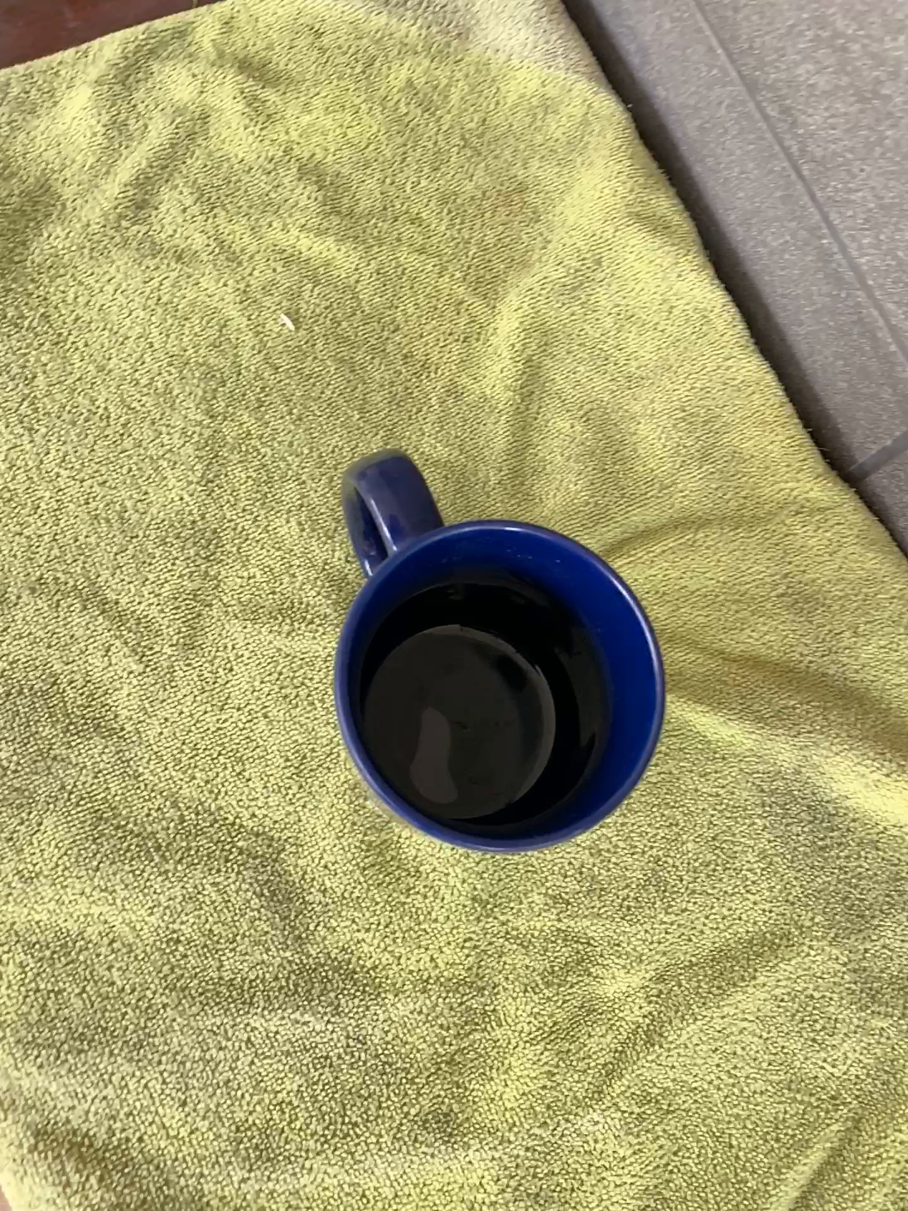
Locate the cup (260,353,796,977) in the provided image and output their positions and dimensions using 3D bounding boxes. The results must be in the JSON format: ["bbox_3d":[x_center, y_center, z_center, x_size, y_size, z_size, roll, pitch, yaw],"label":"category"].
[{"bbox_3d":[0.011,0.020,0.279,0.090,0.110,0.130,-19,80,-10],"label":"cup"}]
